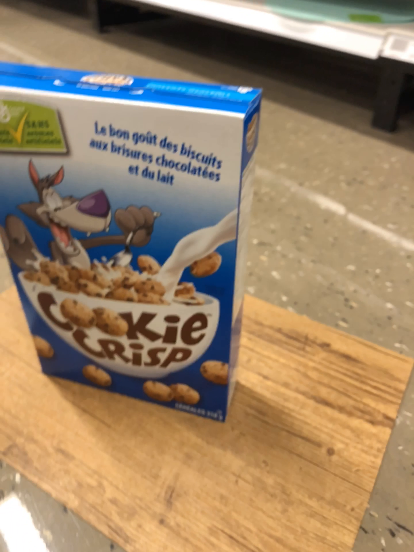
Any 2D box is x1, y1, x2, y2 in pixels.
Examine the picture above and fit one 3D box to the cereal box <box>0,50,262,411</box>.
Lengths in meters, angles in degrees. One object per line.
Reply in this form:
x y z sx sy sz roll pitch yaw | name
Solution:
-0.071 -0.022 0.377 0.200 0.269 0.060 11 39 13 | cereal box
